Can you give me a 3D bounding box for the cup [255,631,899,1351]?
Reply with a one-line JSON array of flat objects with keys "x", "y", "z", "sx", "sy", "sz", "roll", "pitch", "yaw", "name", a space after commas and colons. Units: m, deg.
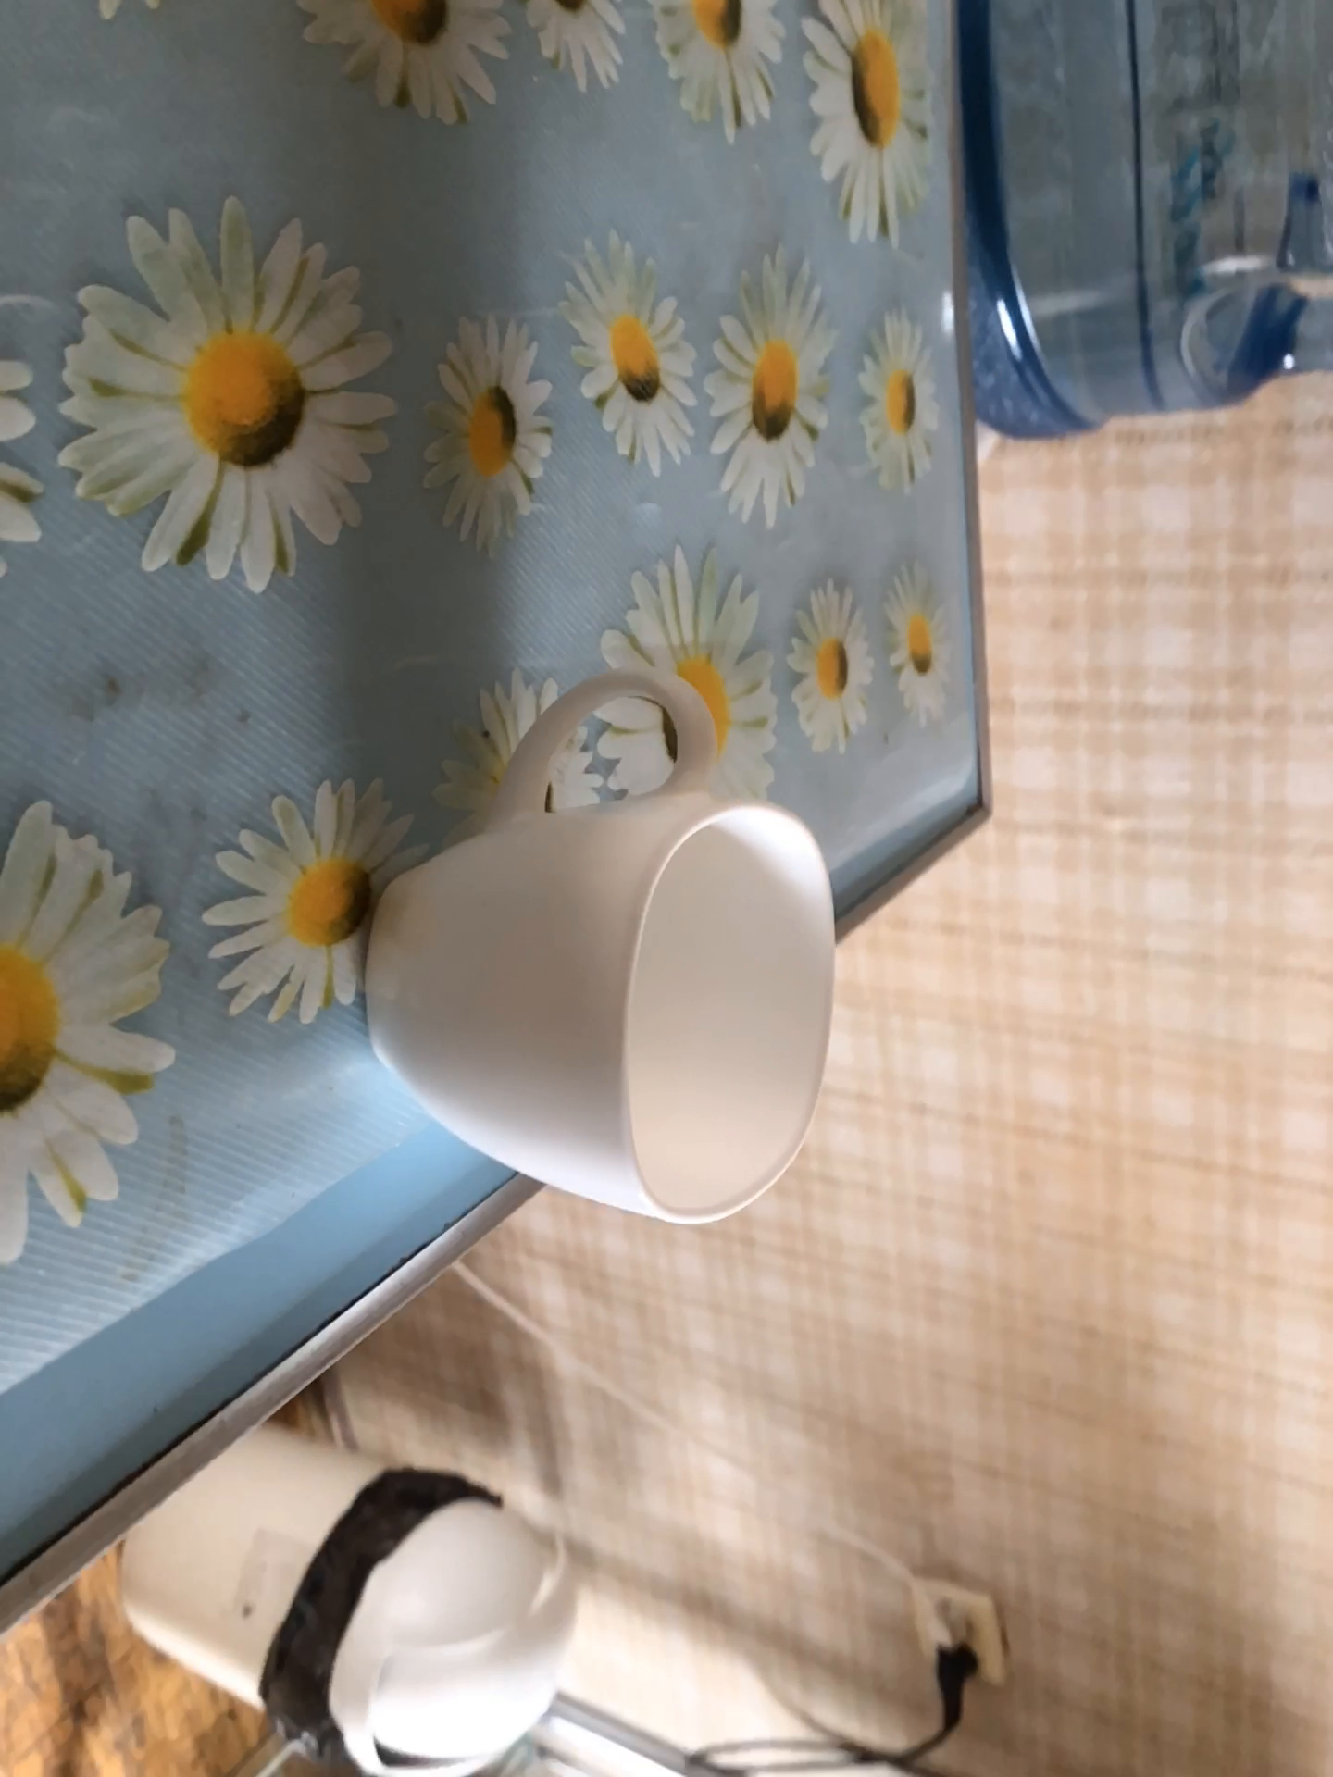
[{"x": -0.010, "y": 0.012, "z": 0.284, "sx": 0.085, "sy": 0.070, "sz": 0.102, "roll": -38, "pitch": 126, "yaw": -48, "name": "cup"}]
